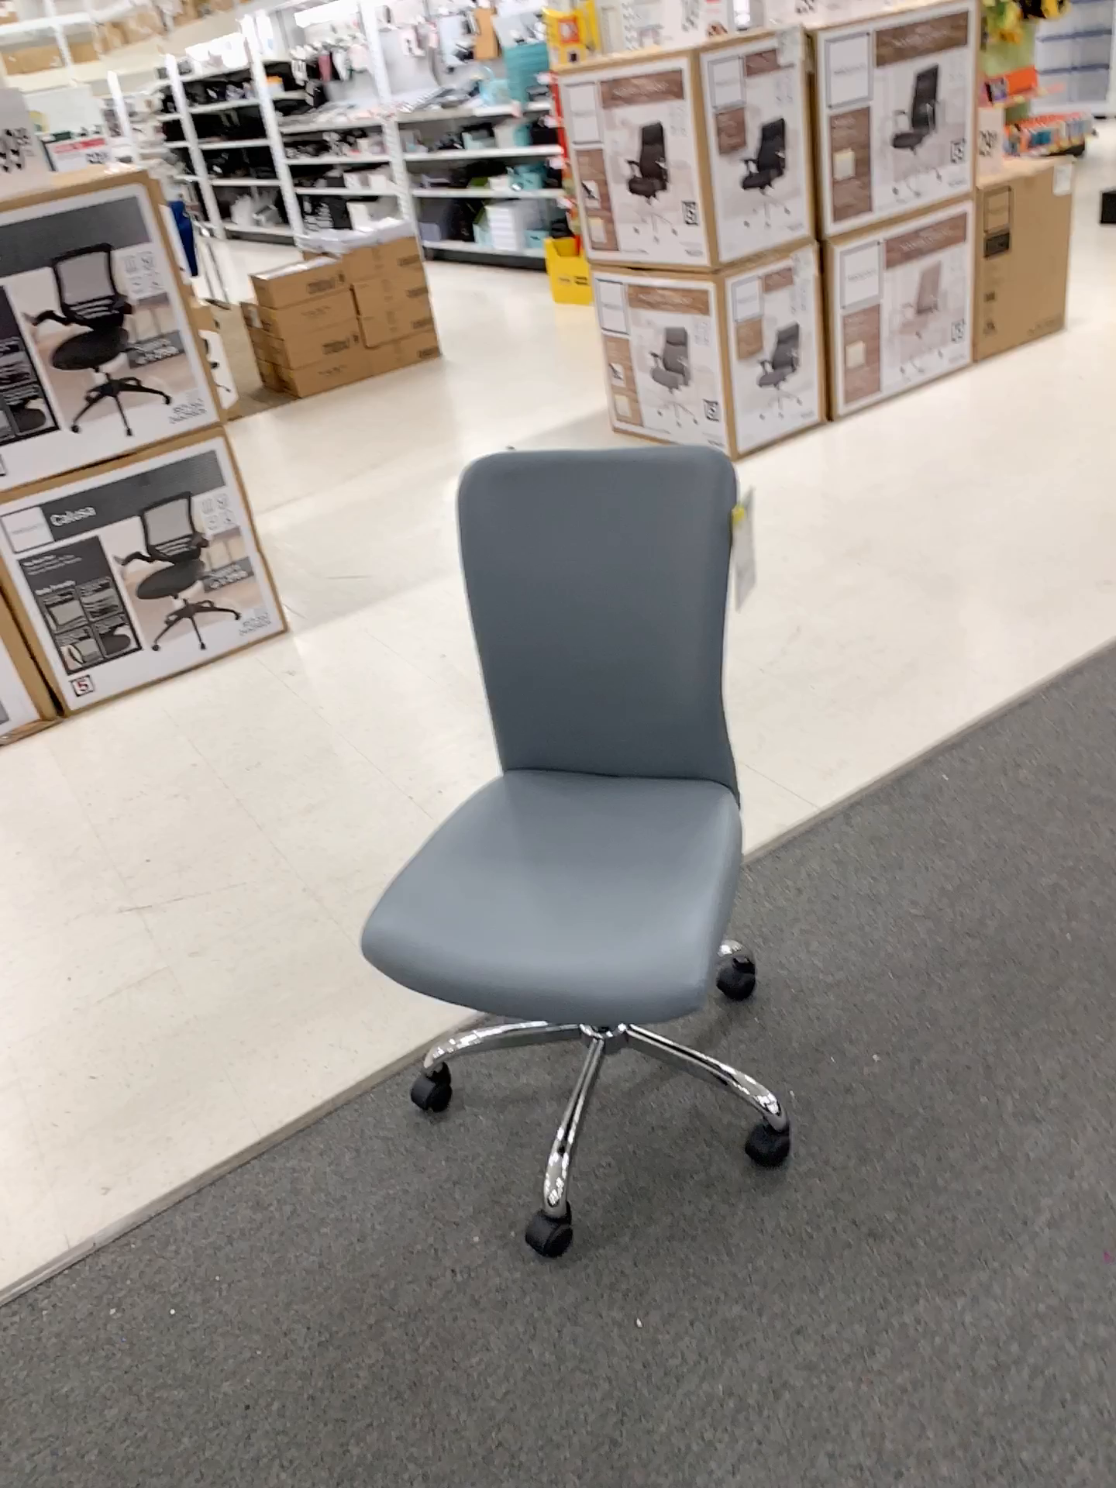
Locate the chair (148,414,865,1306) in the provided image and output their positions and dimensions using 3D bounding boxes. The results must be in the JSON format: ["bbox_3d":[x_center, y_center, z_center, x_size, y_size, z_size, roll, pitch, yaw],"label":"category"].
[{"bbox_3d":[0.045,0.114,1.508,0.601,0.875,0.653,4,34,22],"label":"chair"}]
